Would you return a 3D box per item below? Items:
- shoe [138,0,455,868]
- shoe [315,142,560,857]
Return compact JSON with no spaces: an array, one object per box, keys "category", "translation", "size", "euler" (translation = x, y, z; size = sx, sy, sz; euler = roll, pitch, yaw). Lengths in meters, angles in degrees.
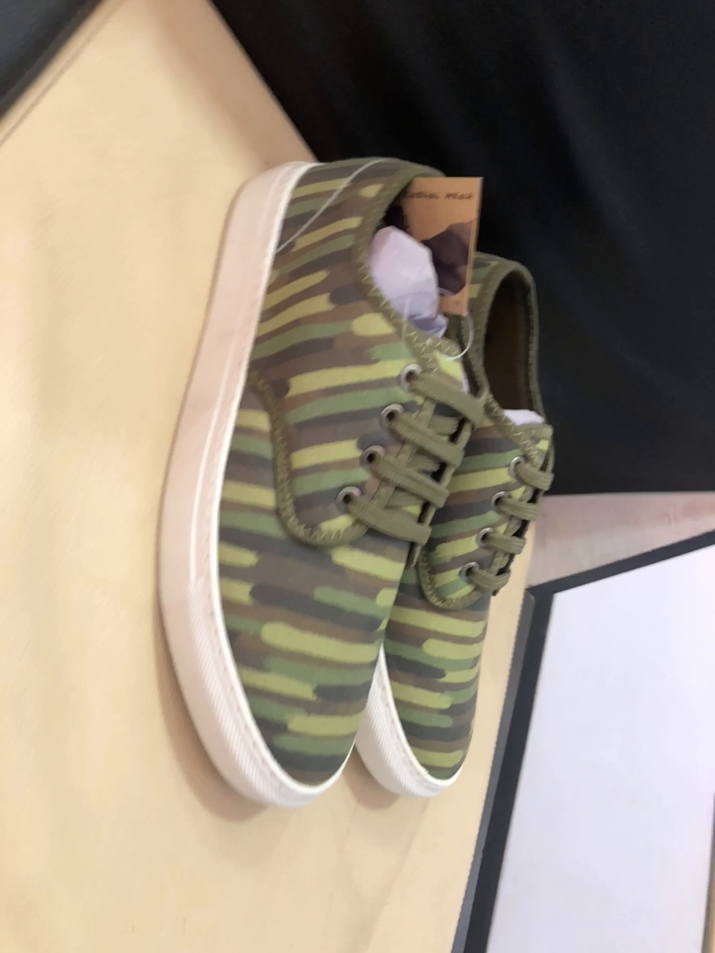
[{"category":"shoe","translation":[-0.019,-0.022,0.335],"size":[0.101,0.079,0.310],"euler":[10,79,-54]},{"category":"shoe","translation":[0.044,0.009,0.407],"size":[0.101,0.079,0.310],"euler":[10,79,-54]}]
